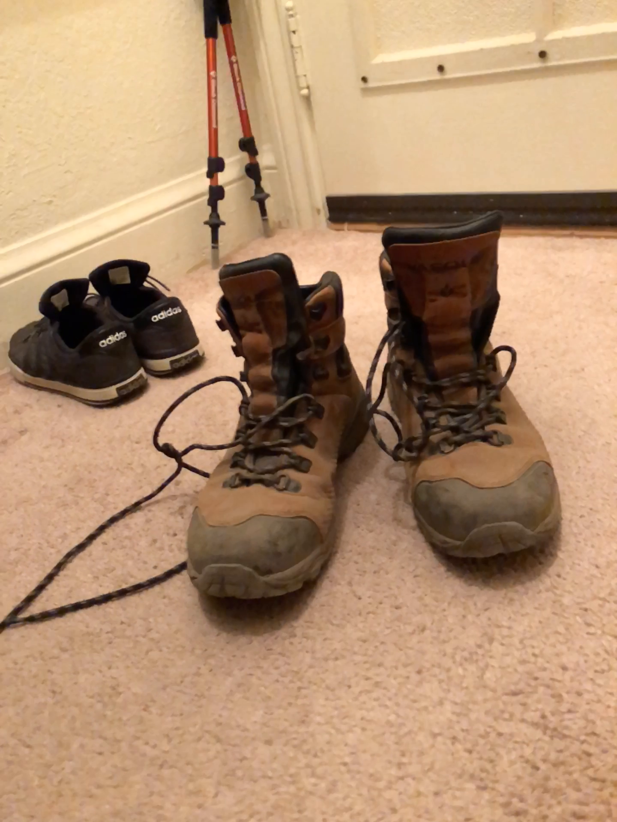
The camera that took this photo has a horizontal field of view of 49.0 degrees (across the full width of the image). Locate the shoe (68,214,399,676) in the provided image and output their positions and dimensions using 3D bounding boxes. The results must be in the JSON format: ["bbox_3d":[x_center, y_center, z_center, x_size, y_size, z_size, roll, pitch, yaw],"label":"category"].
[{"bbox_3d":[-0.021,0.003,0.545,0.120,0.219,0.312,-2,32,18],"label":"shoe"}]

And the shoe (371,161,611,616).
[{"bbox_3d":[0.127,-0.041,0.544,0.120,0.229,0.312,-7,30,9],"label":"shoe"}]
